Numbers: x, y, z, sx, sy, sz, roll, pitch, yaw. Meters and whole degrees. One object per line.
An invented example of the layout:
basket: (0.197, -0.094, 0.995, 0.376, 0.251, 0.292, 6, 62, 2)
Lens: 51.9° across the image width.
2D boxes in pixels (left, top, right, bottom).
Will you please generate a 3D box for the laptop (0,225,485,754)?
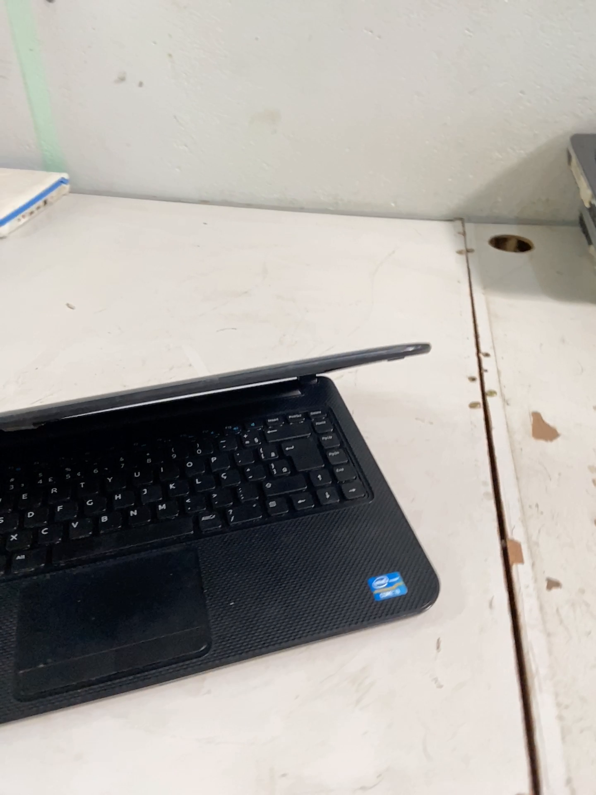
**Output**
laptop: (-0.104, 0.022, 0.378, 0.330, 0.141, 0.231, -10, 39, -13)
